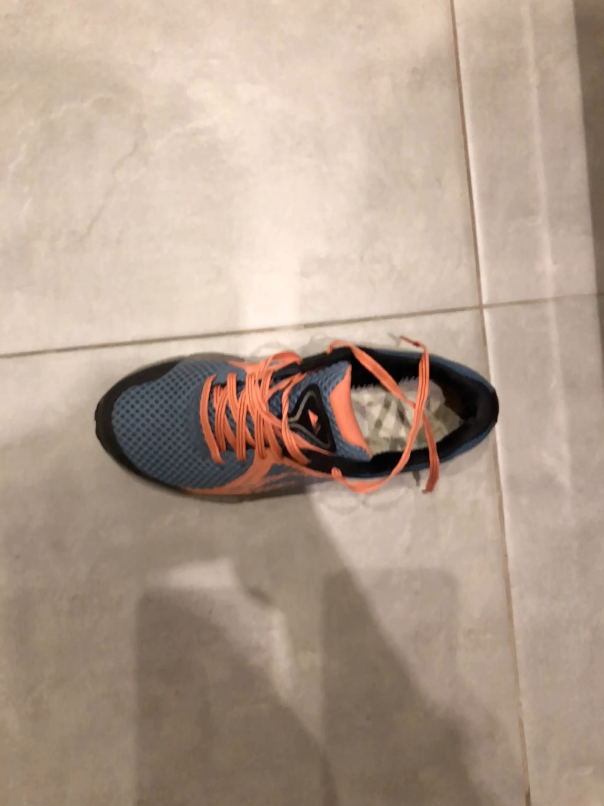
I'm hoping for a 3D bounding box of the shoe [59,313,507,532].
[{"bbox_3d":[-0.011,0.009,0.429,0.250,0.090,0.110,-3,91,-3],"label":"shoe"}]
